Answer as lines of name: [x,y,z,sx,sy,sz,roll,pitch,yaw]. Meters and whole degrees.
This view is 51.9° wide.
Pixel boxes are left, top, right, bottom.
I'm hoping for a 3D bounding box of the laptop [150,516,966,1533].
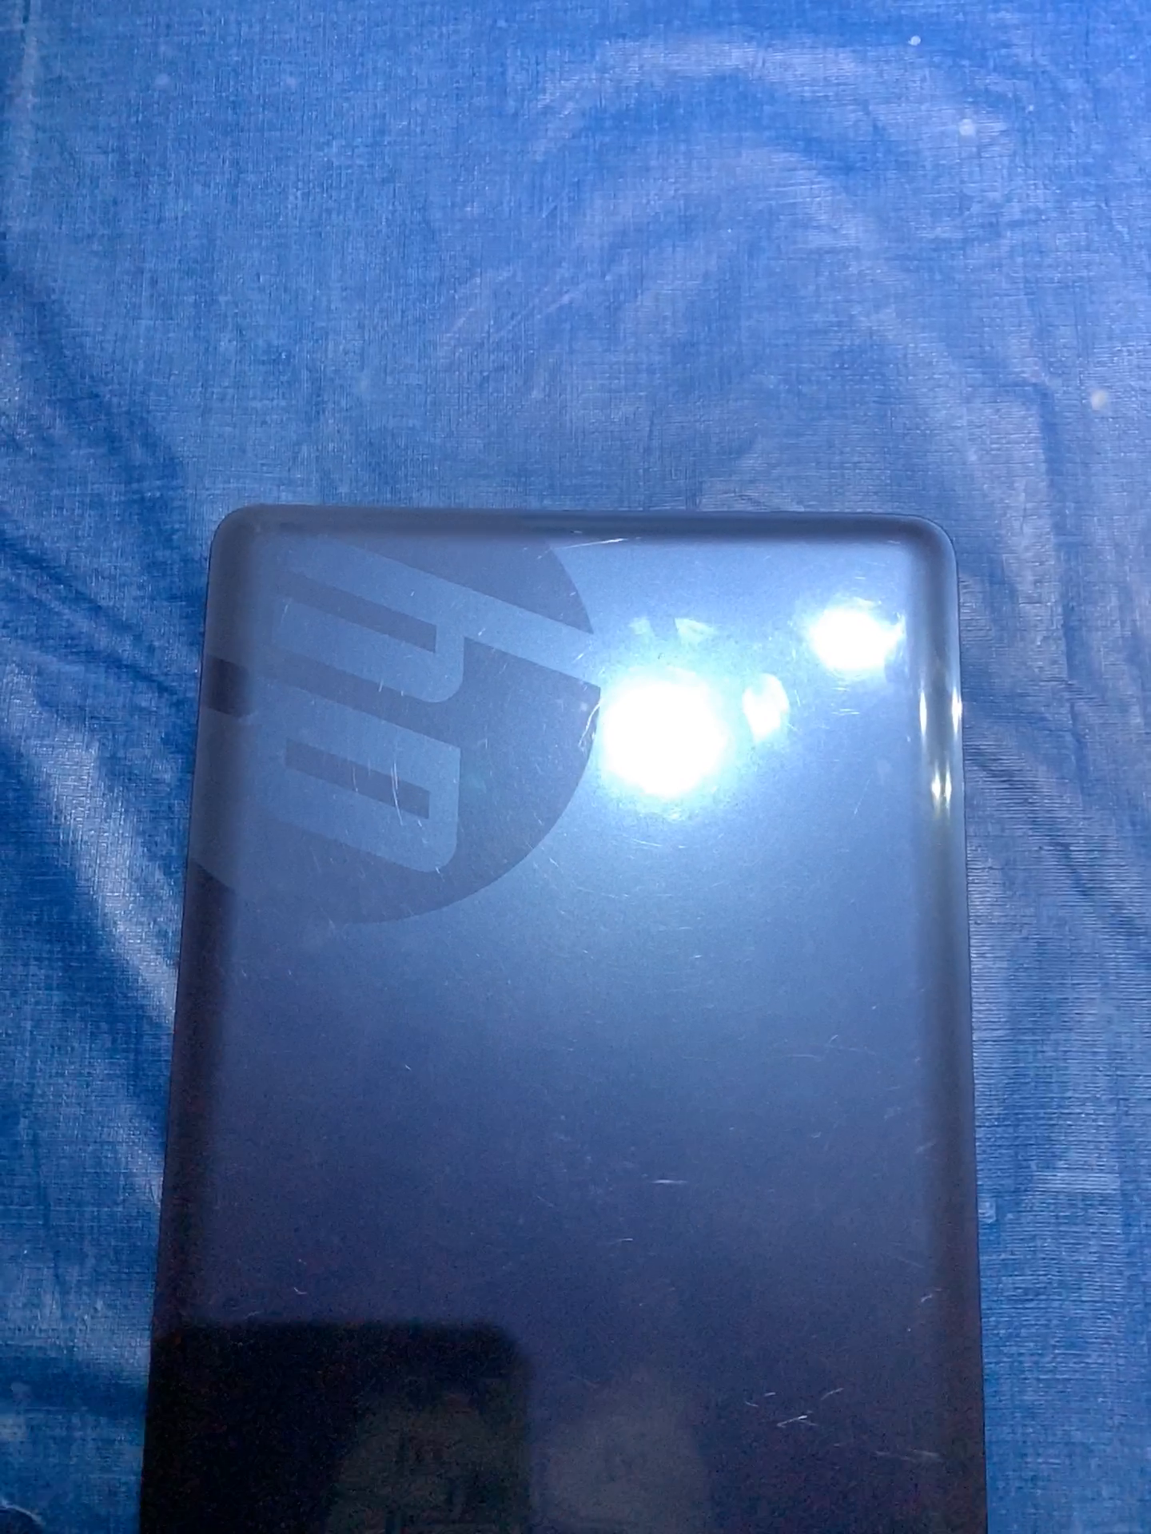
laptop: [-0.001,0.099,0.370,0.235,0.009,0.363,1,82,0]
